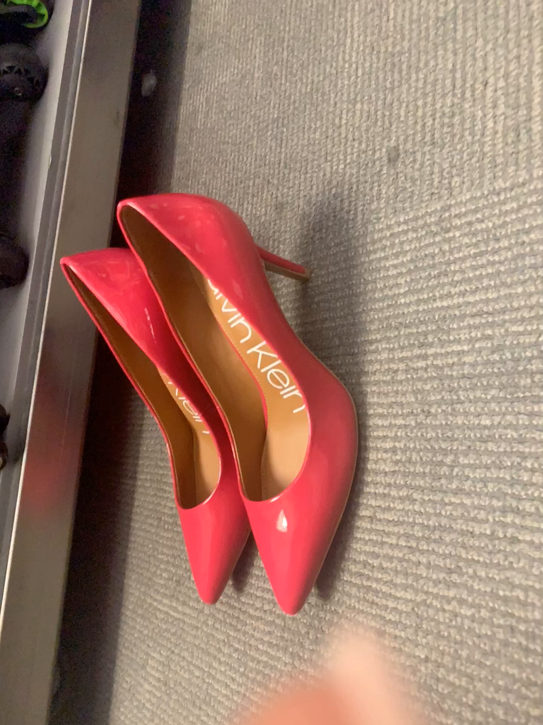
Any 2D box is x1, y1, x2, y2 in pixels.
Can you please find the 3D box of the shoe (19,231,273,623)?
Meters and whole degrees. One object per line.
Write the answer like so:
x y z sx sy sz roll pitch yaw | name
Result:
-0.075 0.042 0.362 0.075 0.129 0.208 -18 68 47 | shoe

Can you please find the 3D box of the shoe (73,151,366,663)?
-0.025 0.023 0.296 0.074 0.120 0.216 -18 68 47 | shoe
